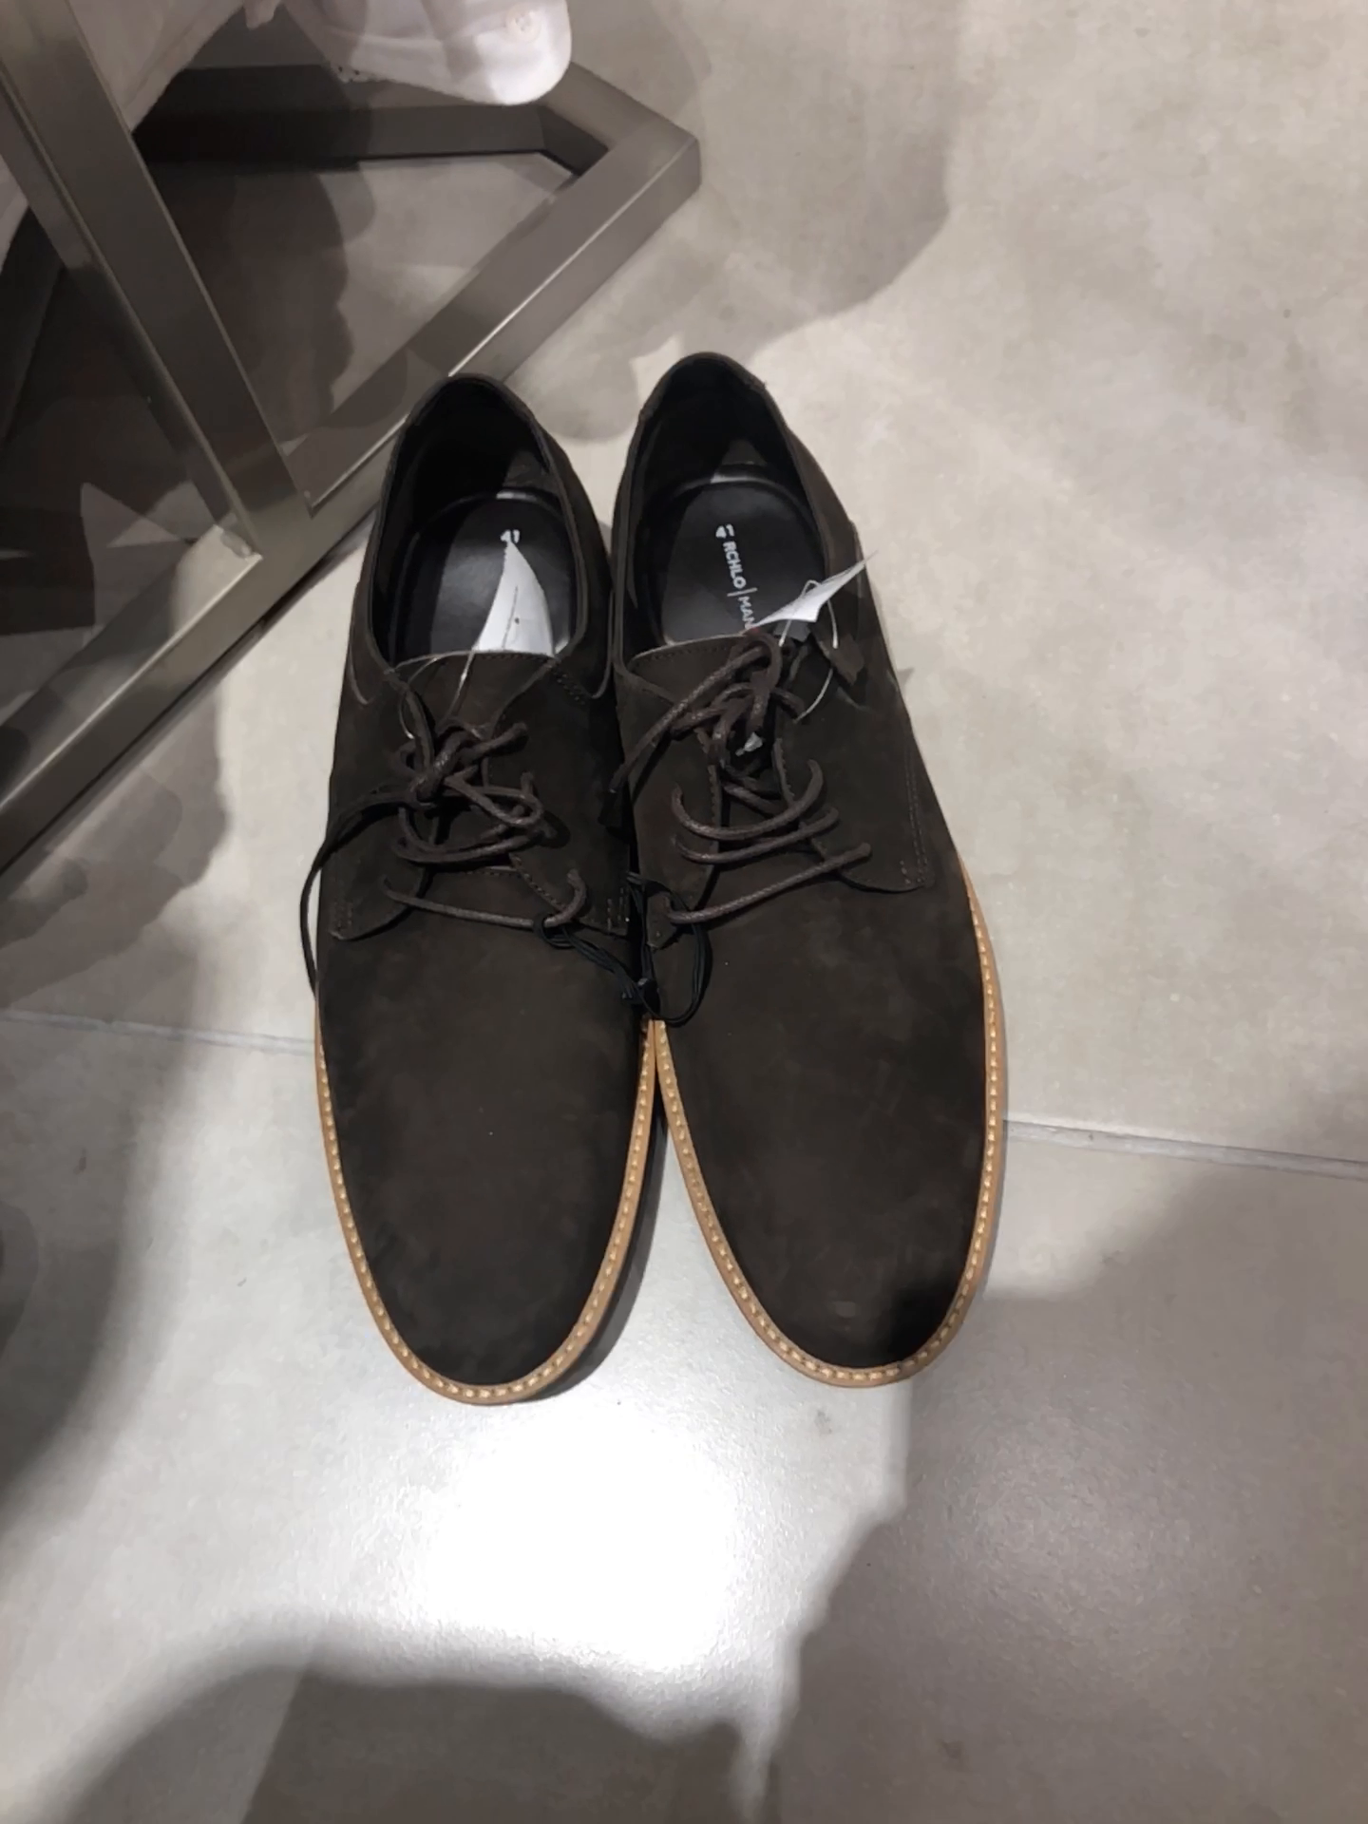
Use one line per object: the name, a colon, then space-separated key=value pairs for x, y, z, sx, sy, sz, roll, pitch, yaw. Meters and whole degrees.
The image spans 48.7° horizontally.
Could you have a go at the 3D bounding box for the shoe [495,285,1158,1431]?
shoe: x=0.030 y=-0.014 z=0.447 sx=0.110 sy=0.120 sz=0.301 roll=-11 pitch=70 yaw=1

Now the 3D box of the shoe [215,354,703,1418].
shoe: x=-0.061 y=-0.005 z=0.469 sx=0.110 sy=0.120 sz=0.301 roll=-4 pitch=70 yaw=3
